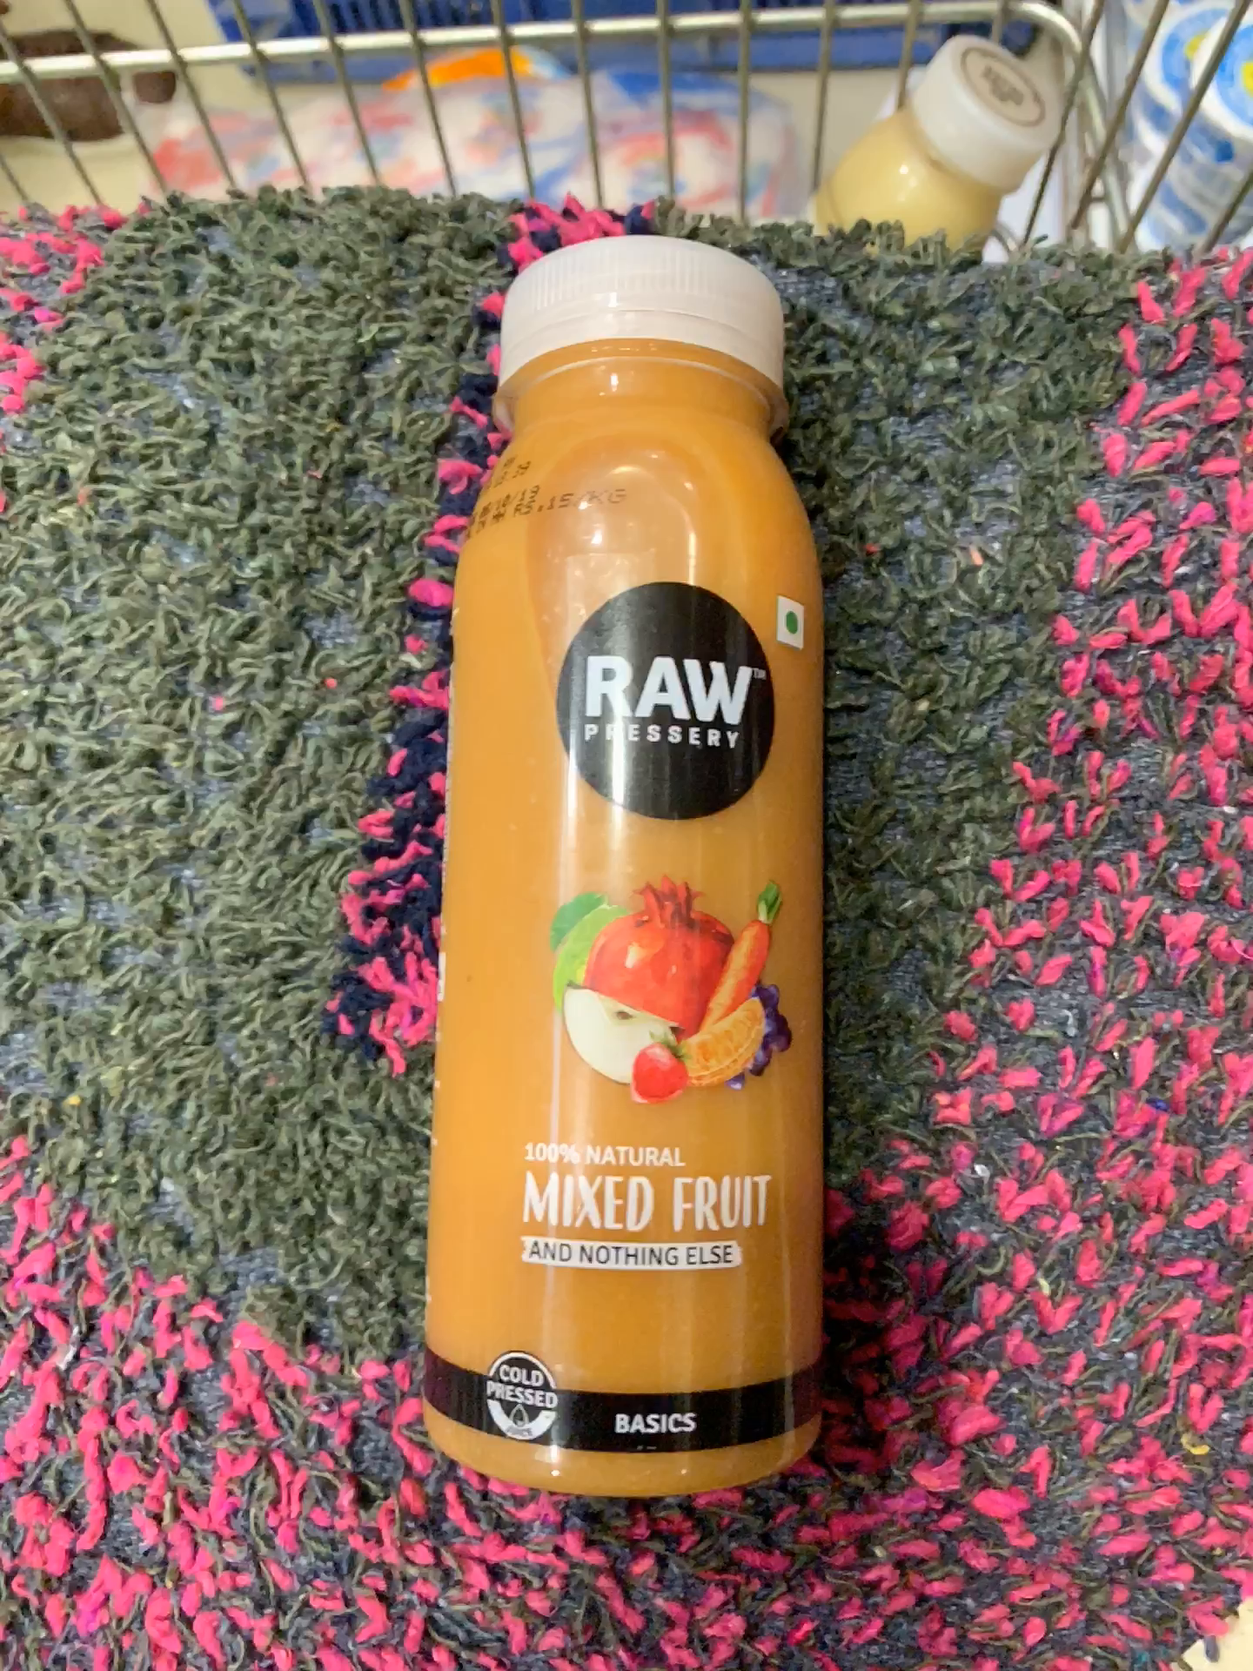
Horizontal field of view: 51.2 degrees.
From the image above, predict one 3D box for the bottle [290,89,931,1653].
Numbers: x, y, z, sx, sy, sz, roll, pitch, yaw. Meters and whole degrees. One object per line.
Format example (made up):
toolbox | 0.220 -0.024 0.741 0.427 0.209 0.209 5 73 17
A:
bottle | -0.005 0.003 0.160 0.060 0.060 0.150 4 82 -13
